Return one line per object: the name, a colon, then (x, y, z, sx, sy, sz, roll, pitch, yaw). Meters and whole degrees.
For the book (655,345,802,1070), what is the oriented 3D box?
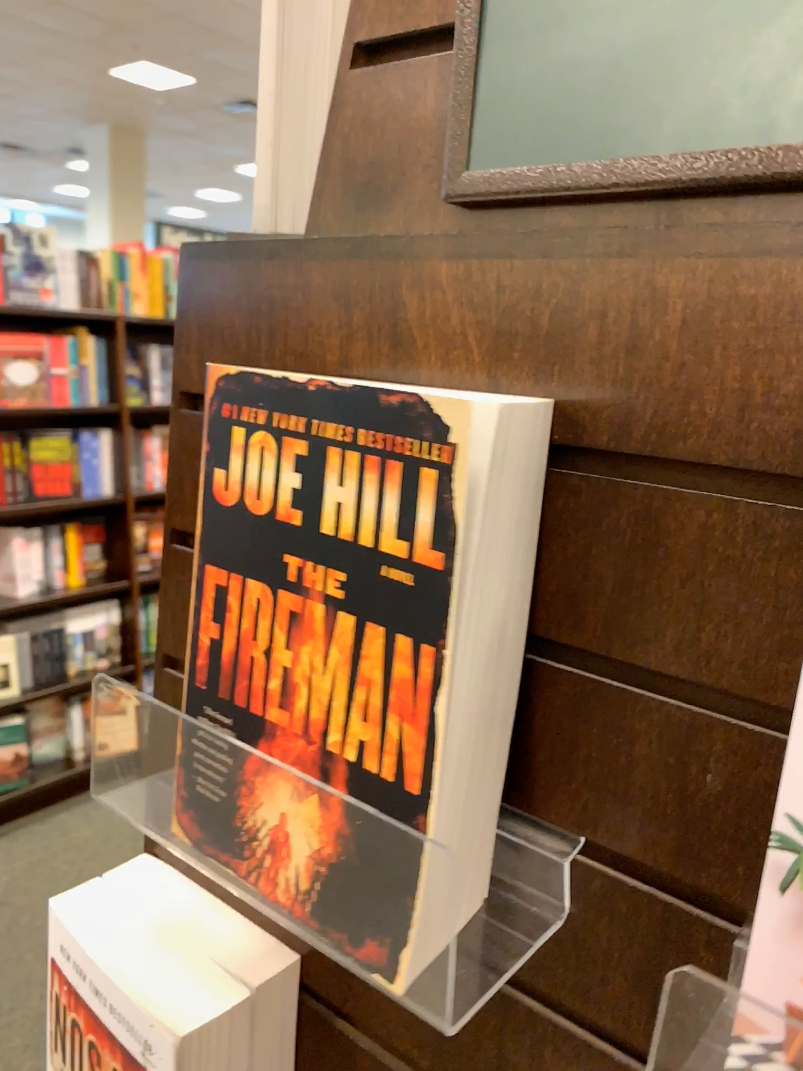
book: (0.158, 0.073, 0.169, 0.026, 0.208, 0.188, -2, 13, -42)

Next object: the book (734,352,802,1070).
book: (0.189, 0.070, 0.188, 0.026, 0.208, 0.188, -2, 13, -42)

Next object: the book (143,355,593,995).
book: (-0.022, 0.036, 0.324, 0.147, 0.194, 0.069, 13, 11, 37)
